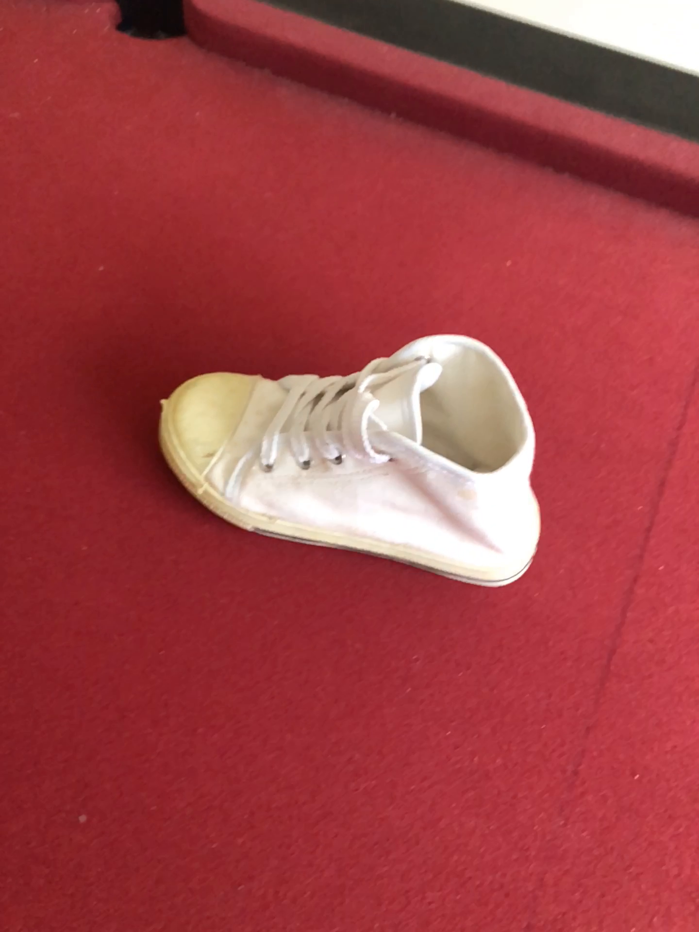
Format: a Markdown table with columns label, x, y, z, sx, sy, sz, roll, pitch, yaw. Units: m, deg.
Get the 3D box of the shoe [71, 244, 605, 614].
| label | x | y | z | sx | sy | sz | roll | pitch | yaw |
| --- | --- | --- | --- | --- | --- | --- | --- | --- | --- |
| shoe | -0.001 | -0.018 | 0.381 | 0.220 | 0.090 | 0.101 | 14 | 56 | 4 |
